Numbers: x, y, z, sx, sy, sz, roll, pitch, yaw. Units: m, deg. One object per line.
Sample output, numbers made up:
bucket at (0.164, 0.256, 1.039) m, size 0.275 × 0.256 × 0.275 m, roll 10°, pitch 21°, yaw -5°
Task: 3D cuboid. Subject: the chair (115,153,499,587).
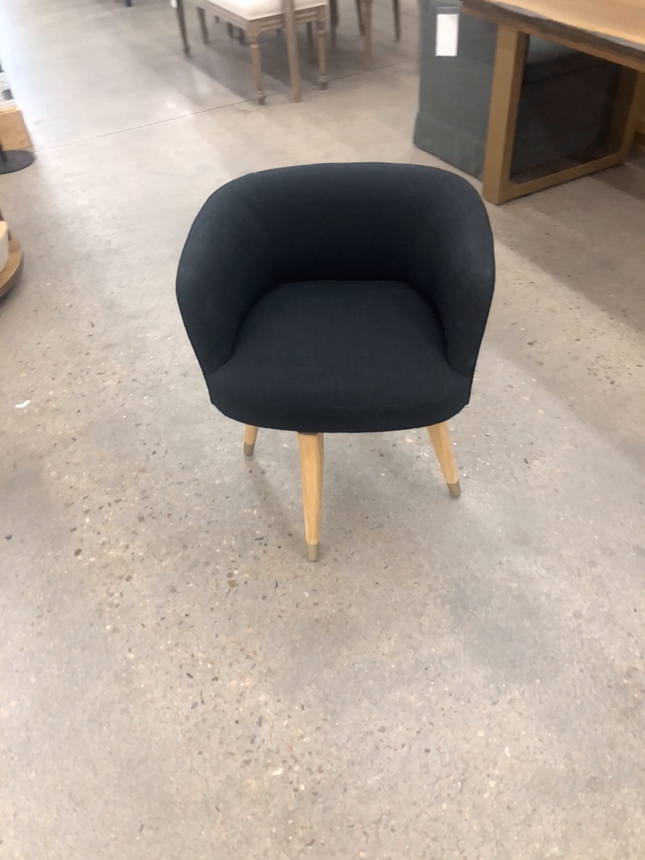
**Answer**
chair at (0.037, -0.144, 1.526) m, size 0.602 × 0.670 × 0.606 m, roll 5°, pitch 44°, yaw 10°
